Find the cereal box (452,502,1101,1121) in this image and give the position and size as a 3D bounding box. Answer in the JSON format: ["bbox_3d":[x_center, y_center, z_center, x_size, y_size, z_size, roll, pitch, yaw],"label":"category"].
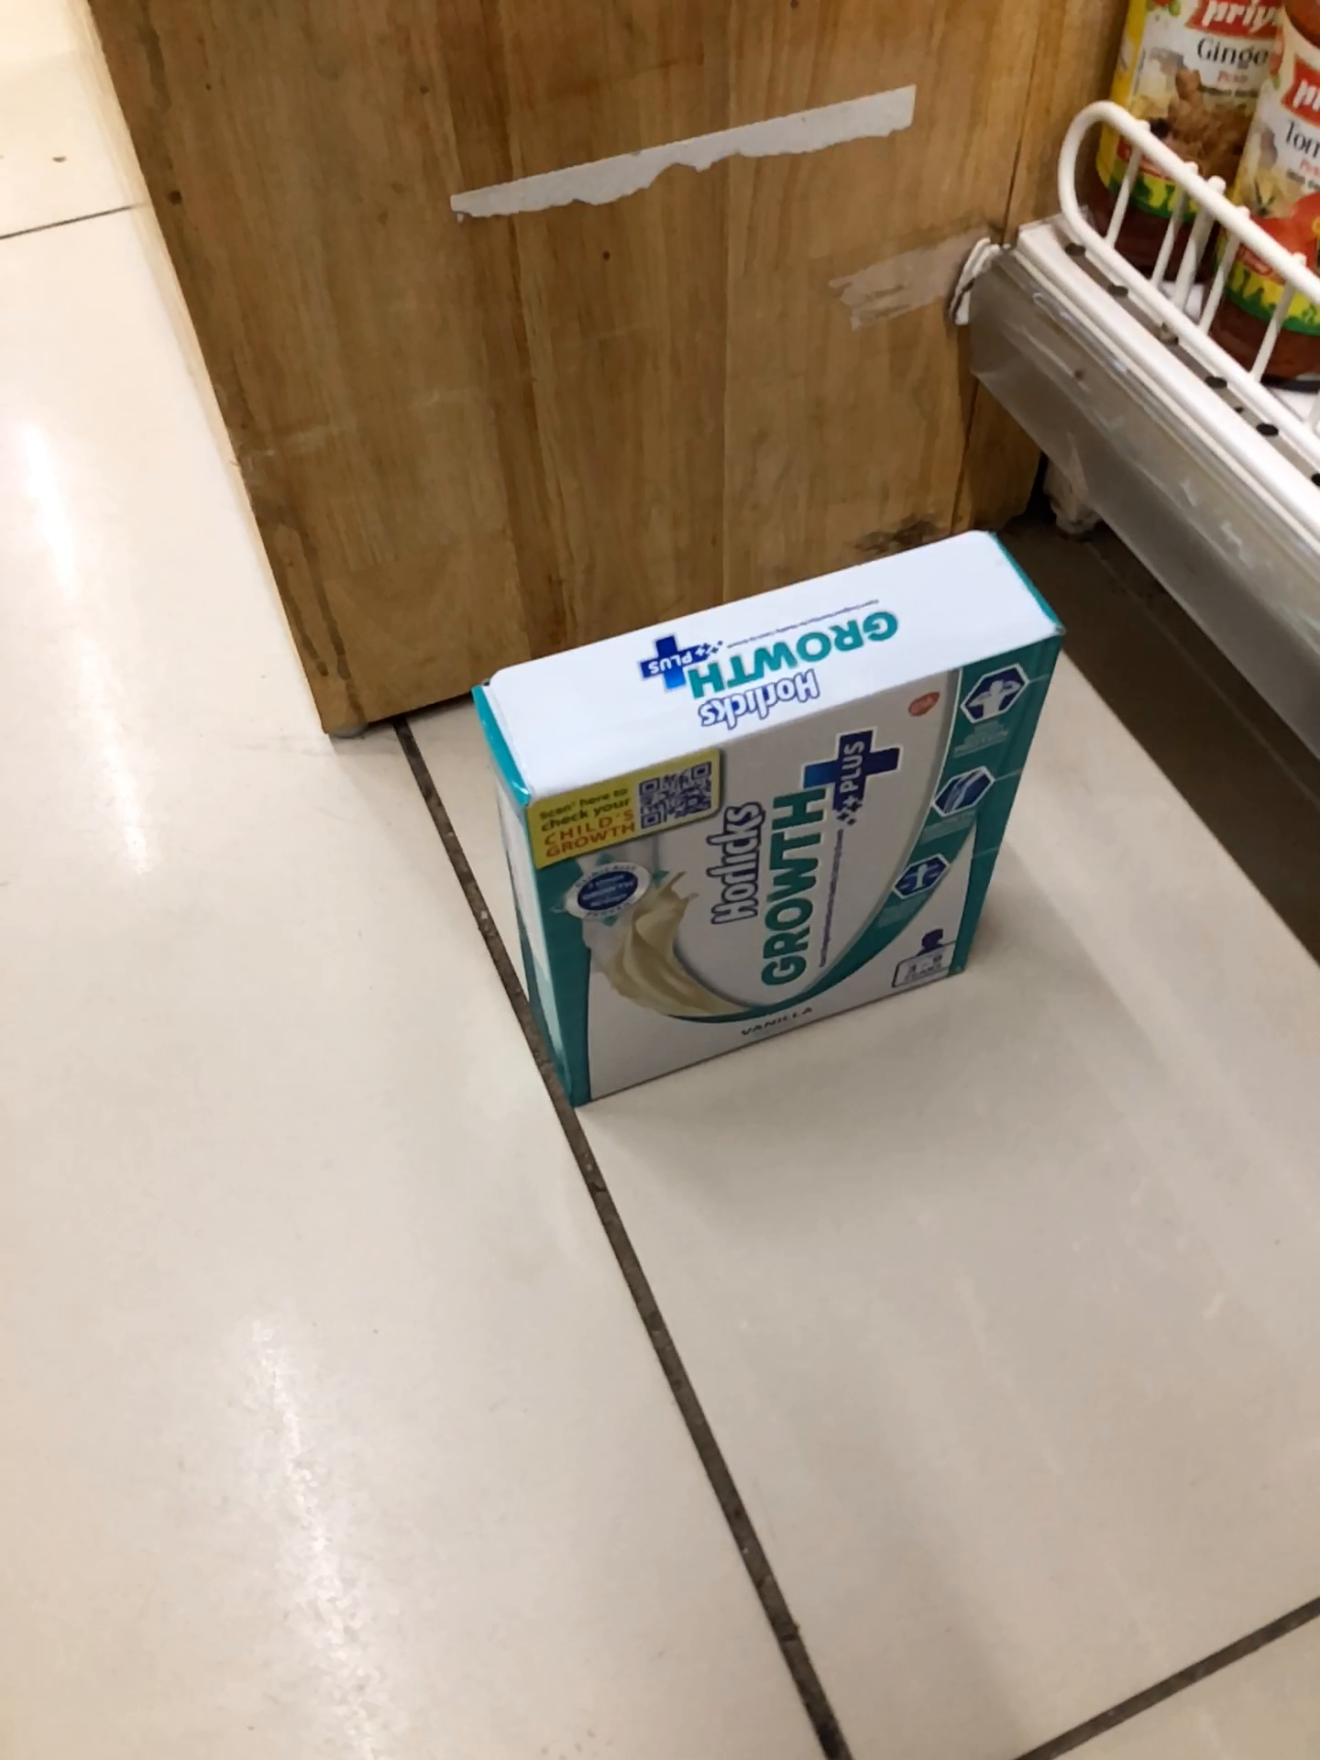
[{"bbox_3d":[0.031,-0.012,0.420,0.150,0.159,0.050,-18,56,-10],"label":"cereal box"}]
